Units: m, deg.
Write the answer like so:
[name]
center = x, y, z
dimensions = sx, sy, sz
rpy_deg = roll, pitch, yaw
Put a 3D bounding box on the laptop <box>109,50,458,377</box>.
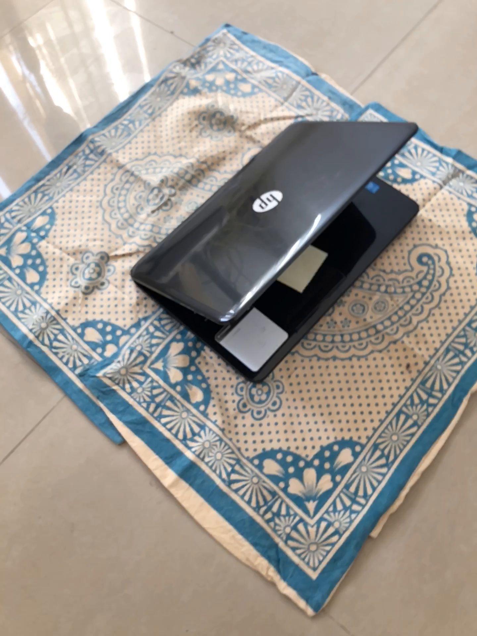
[laptop]
center = 0.056, -0.146, 0.714
dimensions = 0.236, 0.151, 0.364
rpy_deg = 40, 75, 21
